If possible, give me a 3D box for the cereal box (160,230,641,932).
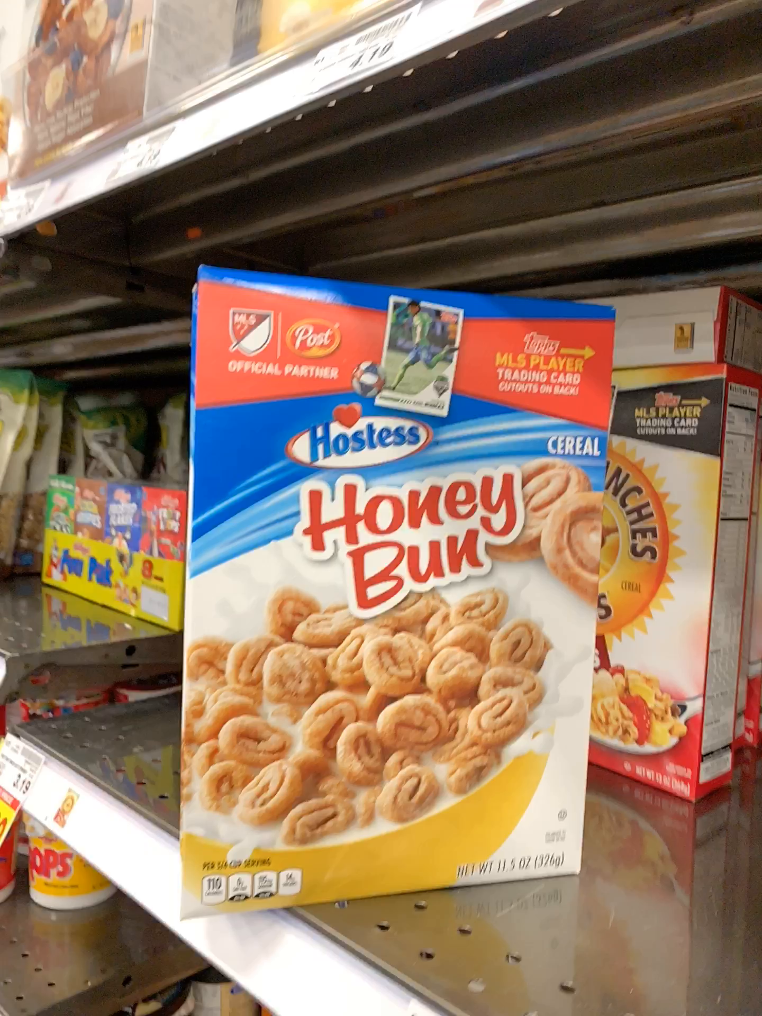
[{"bbox_3d":[0.007,0.033,0.367,0.200,0.280,0.060,2,3,-14],"label":"cereal box"}]
